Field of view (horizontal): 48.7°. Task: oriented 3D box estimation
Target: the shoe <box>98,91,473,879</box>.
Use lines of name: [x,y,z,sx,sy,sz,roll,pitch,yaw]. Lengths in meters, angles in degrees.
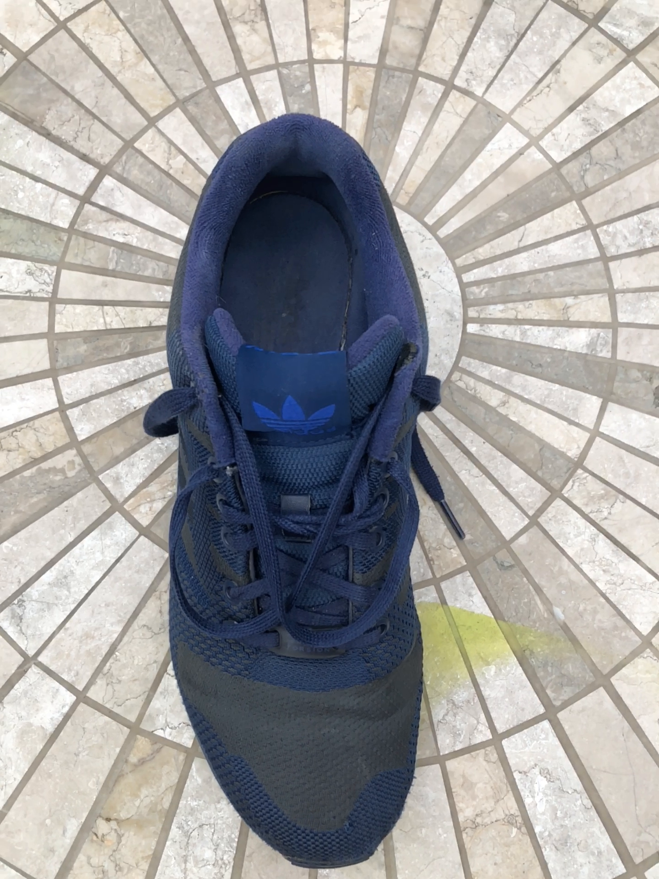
shoe: [-0.016,0.025,0.288,0.110,0.110,0.280,-1,82,-1]
